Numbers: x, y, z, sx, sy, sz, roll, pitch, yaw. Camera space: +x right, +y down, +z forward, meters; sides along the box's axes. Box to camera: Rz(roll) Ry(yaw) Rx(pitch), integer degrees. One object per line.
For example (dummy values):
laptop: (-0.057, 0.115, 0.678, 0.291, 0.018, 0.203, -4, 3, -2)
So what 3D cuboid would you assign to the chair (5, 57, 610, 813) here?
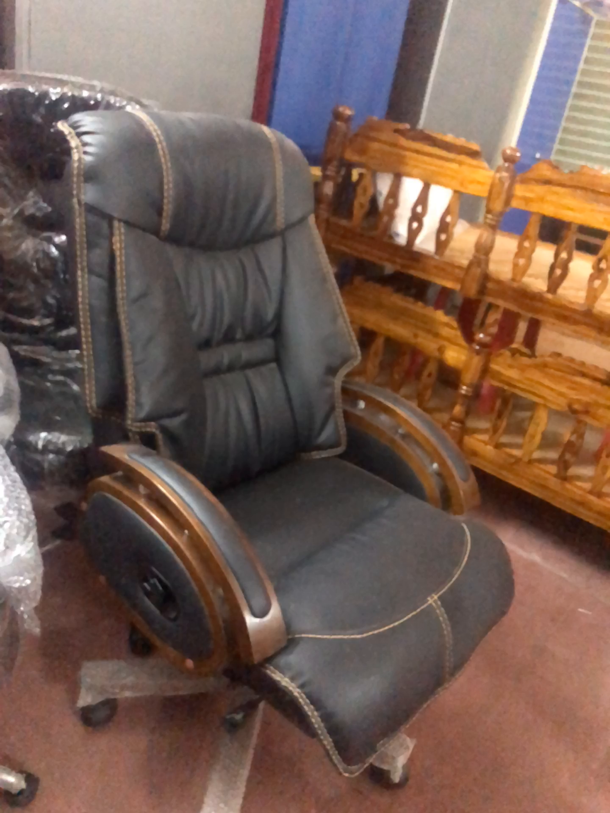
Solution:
chair: (0.041, 0.068, 1.133, 0.790, 0.995, 0.704, 30, 31, 33)
